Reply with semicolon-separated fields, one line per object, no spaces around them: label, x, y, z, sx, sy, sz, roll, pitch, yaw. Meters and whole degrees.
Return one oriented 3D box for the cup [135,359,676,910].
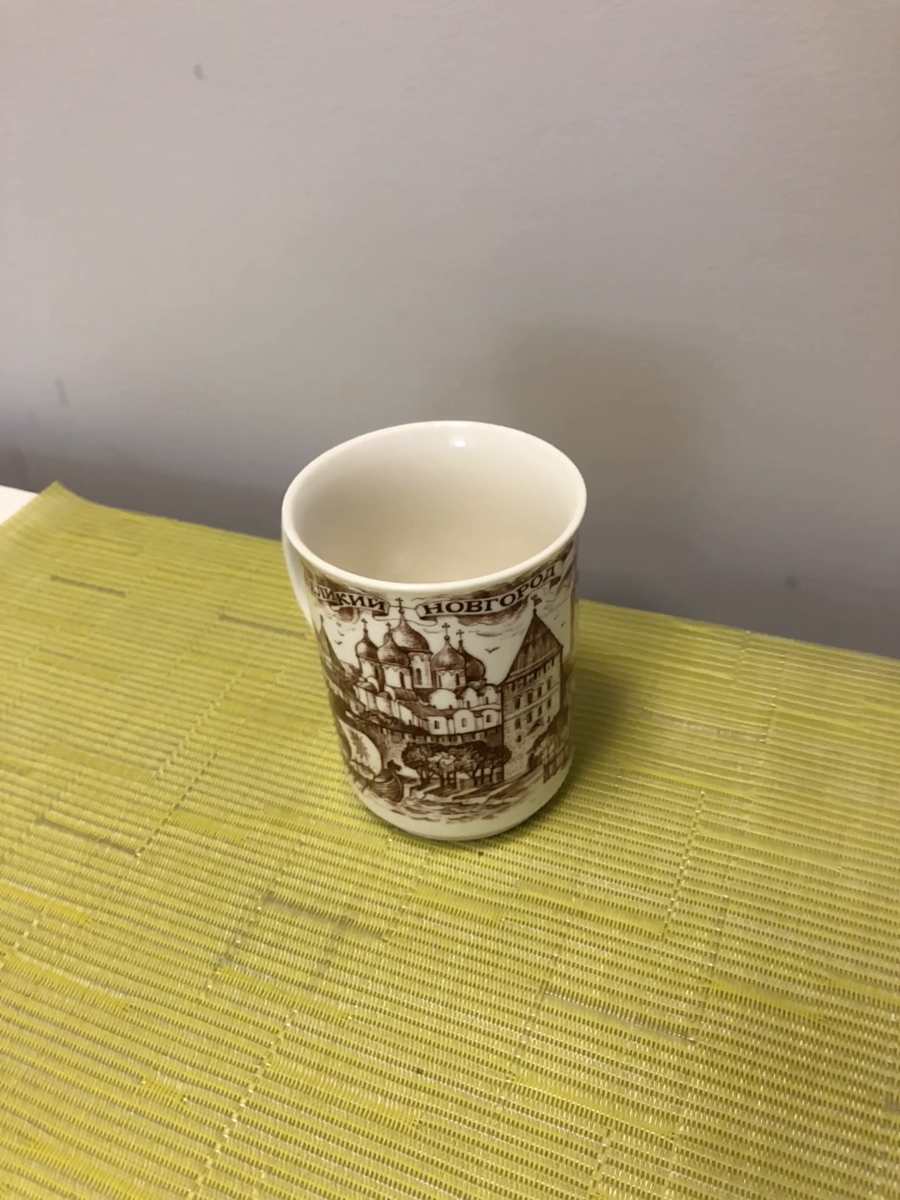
cup;-0.013;0.001;0.310;0.094;0.092;0.124;-32;46;-30
